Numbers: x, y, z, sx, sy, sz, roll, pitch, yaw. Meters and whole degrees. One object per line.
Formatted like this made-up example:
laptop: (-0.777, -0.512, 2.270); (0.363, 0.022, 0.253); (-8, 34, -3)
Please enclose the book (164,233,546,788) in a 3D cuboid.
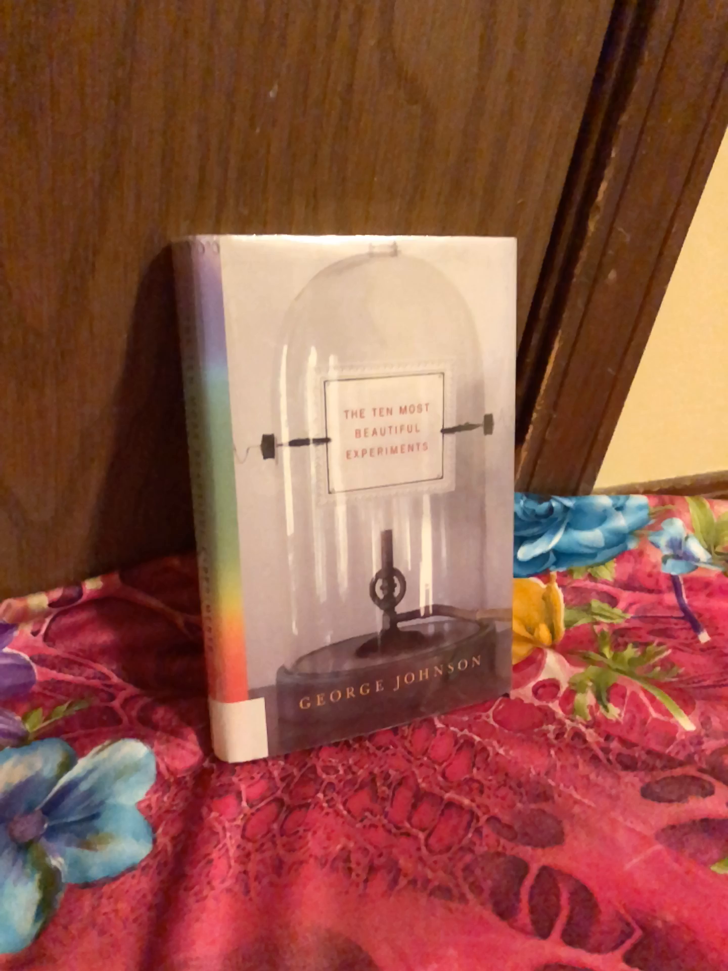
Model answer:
book: (0.004, 0.004, 0.314); (0.140, 0.190, 0.033); (-8, 13, -27)
